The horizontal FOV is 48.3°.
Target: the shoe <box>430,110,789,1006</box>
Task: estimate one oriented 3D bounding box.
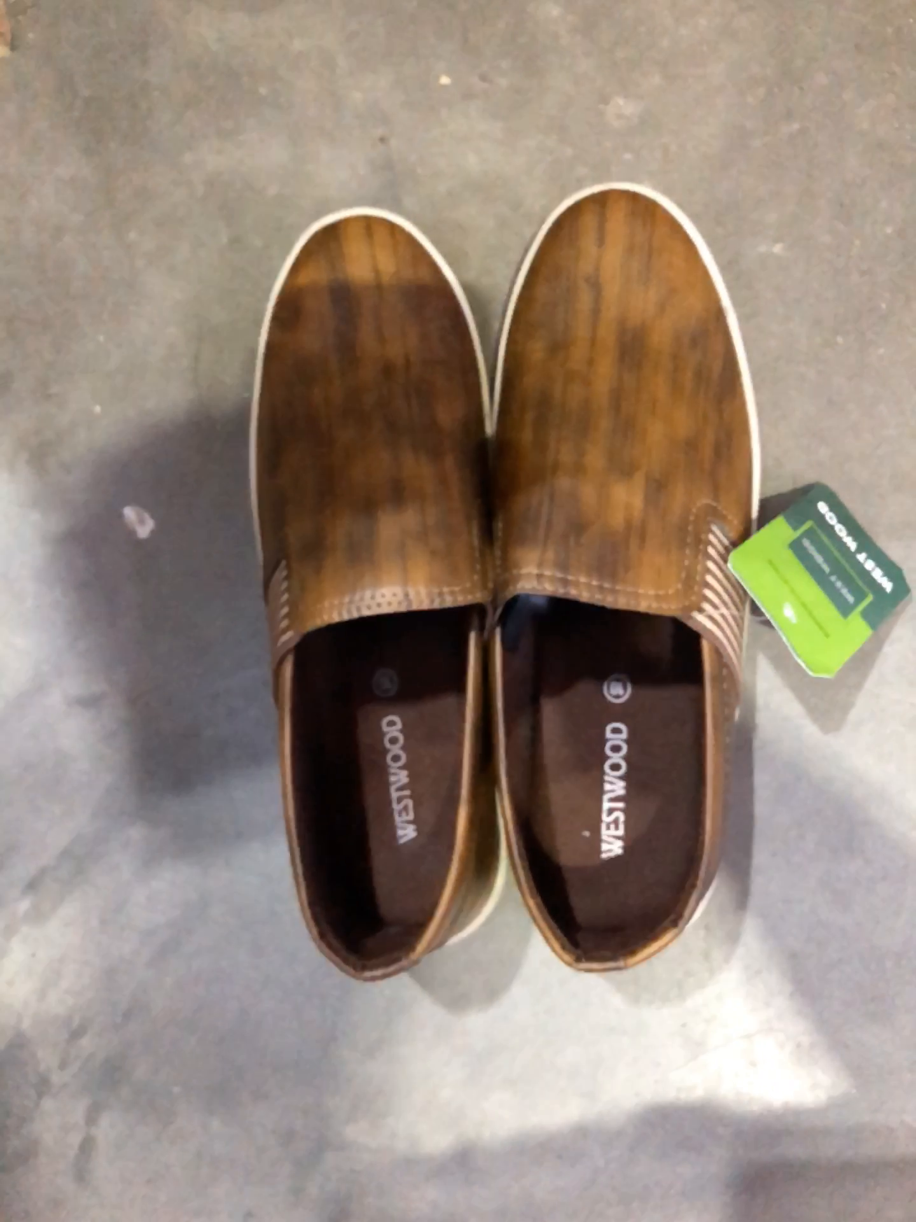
[{"bbox_3d":[0.054,-0.017,0.386,0.110,0.100,0.290,-2,84,10],"label":"shoe"}]

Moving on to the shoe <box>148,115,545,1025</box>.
[{"bbox_3d":[-0.037,-0.013,0.383,0.100,0.100,0.290,-7,83,9],"label":"shoe"}]
